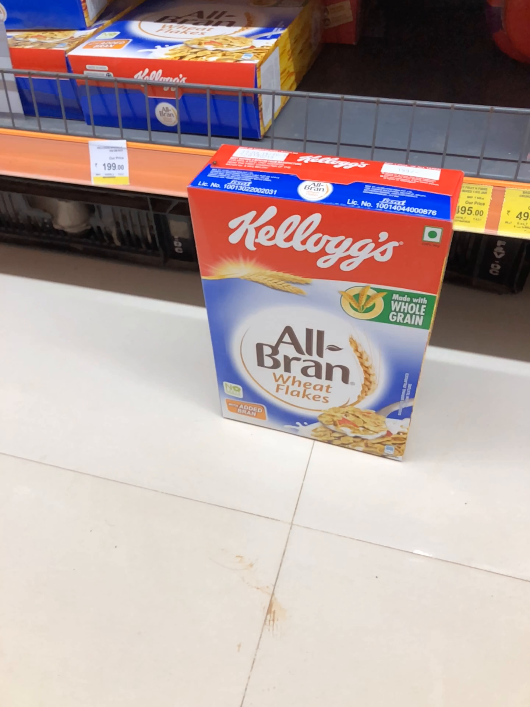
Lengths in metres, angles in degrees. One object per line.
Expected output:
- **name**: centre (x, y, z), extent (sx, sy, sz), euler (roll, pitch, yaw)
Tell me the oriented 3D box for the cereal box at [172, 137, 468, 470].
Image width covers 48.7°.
- **cereal box**: centre (0.044, -0.031, 0.497), extent (0.190, 0.258, 0.081), euler (12, 47, 15)
